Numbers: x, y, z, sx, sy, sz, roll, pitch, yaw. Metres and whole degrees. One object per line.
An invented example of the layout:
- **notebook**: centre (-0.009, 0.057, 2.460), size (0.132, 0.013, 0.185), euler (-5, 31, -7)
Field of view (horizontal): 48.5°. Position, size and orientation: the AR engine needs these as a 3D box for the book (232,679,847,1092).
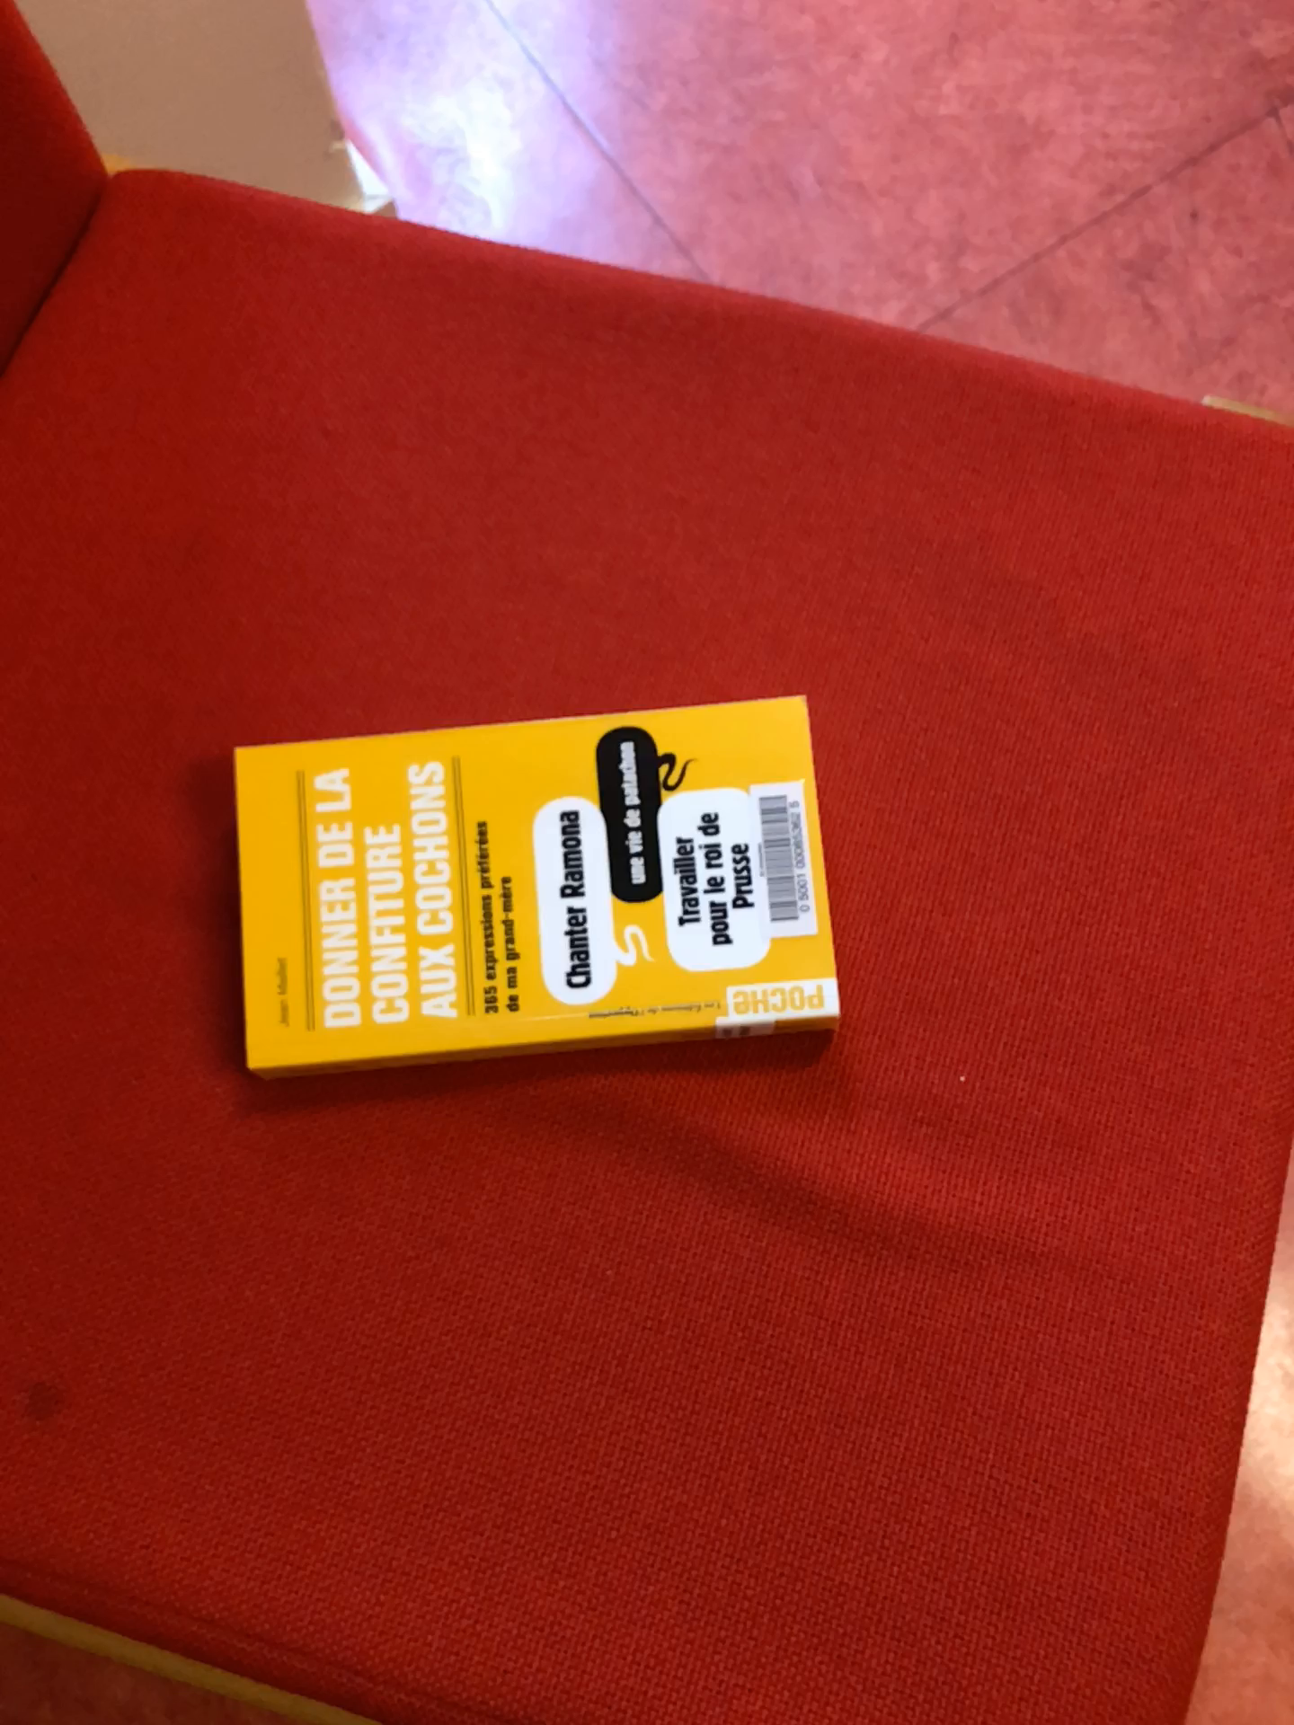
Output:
- **book**: centre (-0.035, 0.008, 0.452), size (0.180, 0.030, 0.107), euler (-6, 76, 2)
